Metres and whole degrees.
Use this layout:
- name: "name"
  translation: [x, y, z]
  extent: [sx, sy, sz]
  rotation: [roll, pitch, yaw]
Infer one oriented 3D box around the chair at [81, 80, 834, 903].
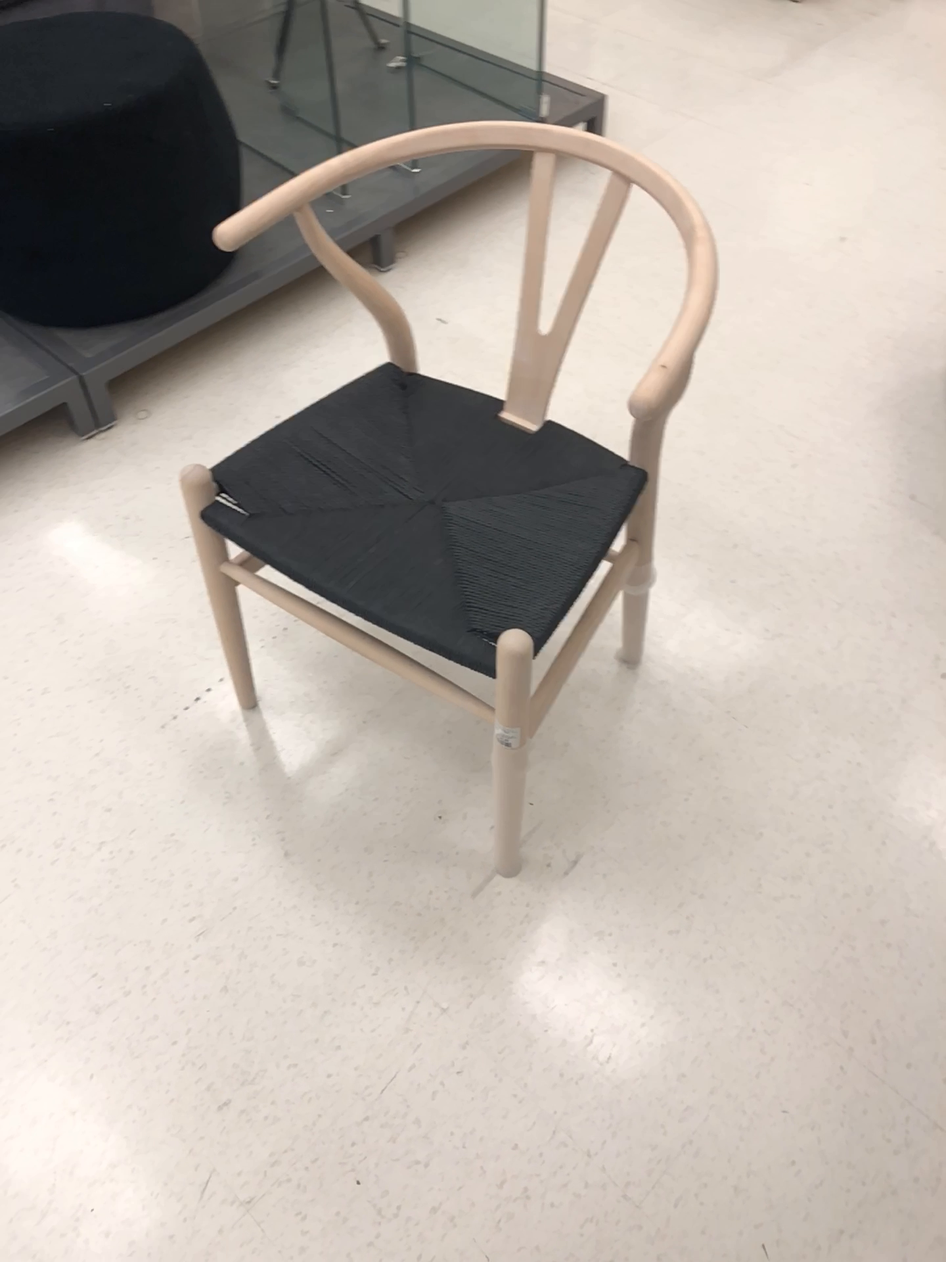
- name: "chair"
  translation: [0.002, -0.171, 1.356]
  extent: [0.559, 0.728, 0.557]
  rotation: [29, 56, 23]
